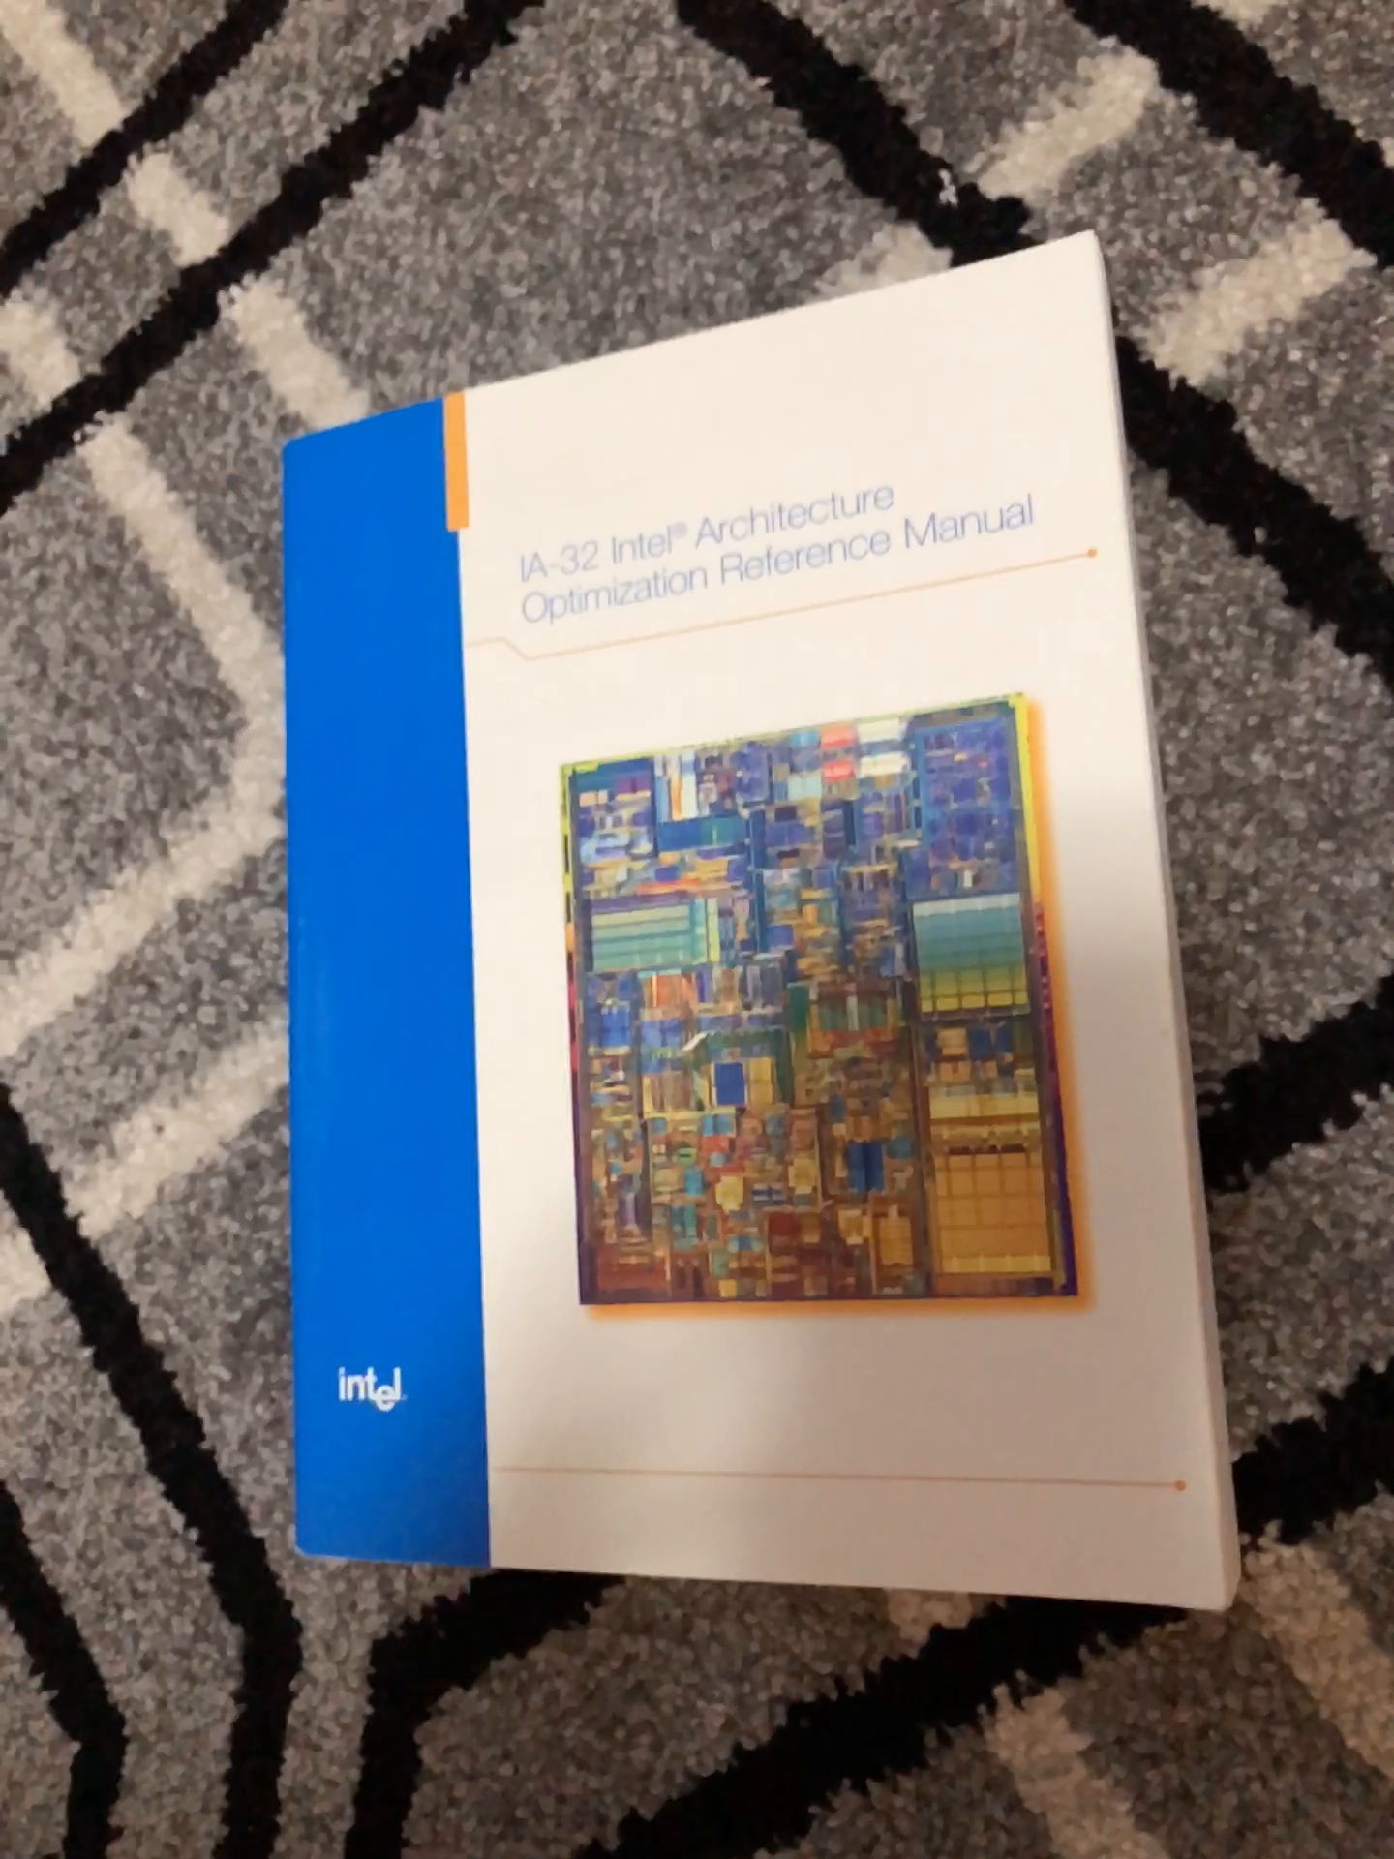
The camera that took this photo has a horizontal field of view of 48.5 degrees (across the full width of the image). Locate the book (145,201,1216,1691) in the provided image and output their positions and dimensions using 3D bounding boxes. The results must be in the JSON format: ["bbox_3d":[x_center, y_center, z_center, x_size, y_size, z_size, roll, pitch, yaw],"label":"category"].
[{"bbox_3d":[-0.012,0.005,0.265,0.170,0.040,0.210,-6,80,21],"label":"book"}]
